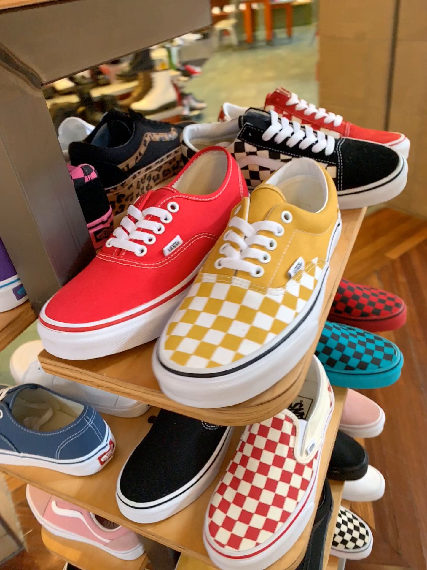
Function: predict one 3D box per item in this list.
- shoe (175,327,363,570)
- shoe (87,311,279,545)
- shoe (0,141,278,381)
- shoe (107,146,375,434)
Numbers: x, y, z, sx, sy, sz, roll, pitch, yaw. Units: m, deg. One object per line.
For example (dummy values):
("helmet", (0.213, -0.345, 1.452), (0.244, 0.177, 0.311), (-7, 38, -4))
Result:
("shoe", (0.077, 0.166, 0.476), (0.103, 0.066, 0.269), (11, 40, 26))
("shoe", (-0.018, 0.149, 0.540), (0.105, 0.066, 0.269), (11, 40, 26))
("shoe", (-0.042, -0.048, 0.393), (0.109, 0.066, 0.269), (11, 40, 26))
("shoe", (0.047, -0.028, 0.345), (0.103, 0.066, 0.269), (10, 39, 25))
